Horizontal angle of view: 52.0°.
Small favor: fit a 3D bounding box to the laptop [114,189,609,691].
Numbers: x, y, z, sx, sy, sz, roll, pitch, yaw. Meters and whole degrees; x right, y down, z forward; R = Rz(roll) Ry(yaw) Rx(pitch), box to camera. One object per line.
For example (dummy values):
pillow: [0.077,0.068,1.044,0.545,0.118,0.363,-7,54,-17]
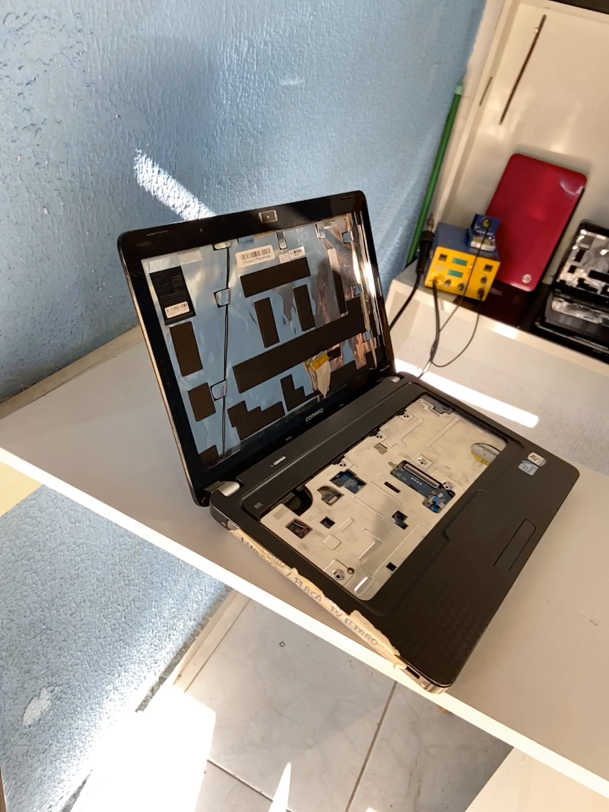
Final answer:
laptop: [0.075,-0.026,0.558,0.336,0.182,0.333,32,38,24]
